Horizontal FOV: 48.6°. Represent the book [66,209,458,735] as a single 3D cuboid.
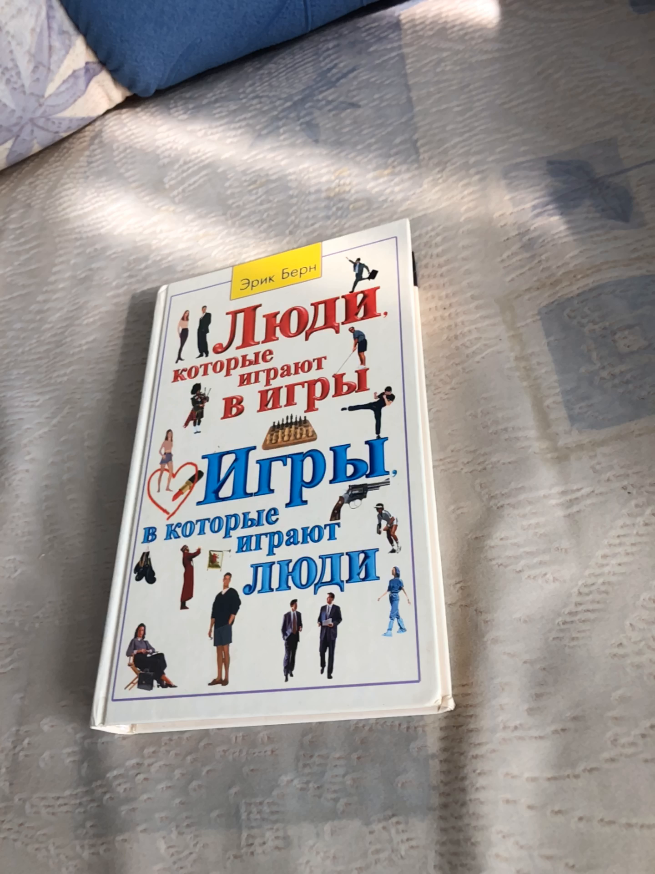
[{"bbox_3d":[-0.024,0.007,0.303,0.135,0.030,0.211,-9,59,16],"label":"book"}]
